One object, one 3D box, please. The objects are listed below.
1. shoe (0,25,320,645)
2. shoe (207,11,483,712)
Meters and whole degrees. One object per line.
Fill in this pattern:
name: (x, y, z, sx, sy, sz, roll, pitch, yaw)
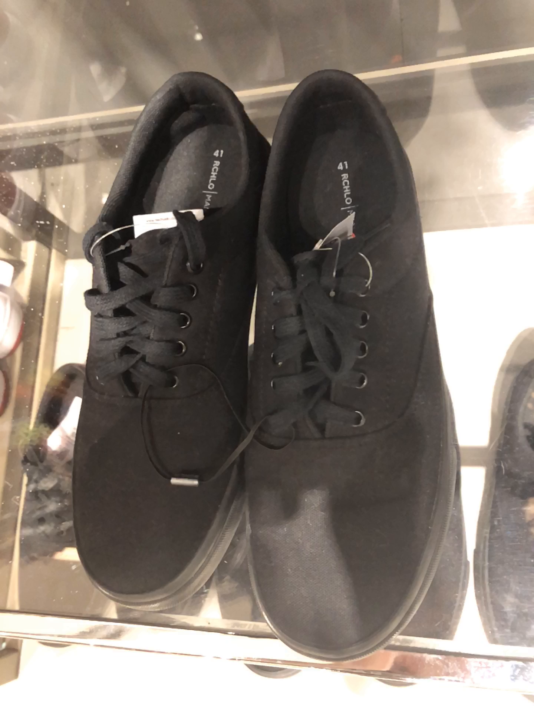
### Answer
shoe: (-0.049, -0.019, 0.362, 0.110, 0.110, 0.320, 4, 78, 17)
shoe: (0.049, -0.002, 0.324, 0.110, 0.110, 0.320, -1, 76, 16)
